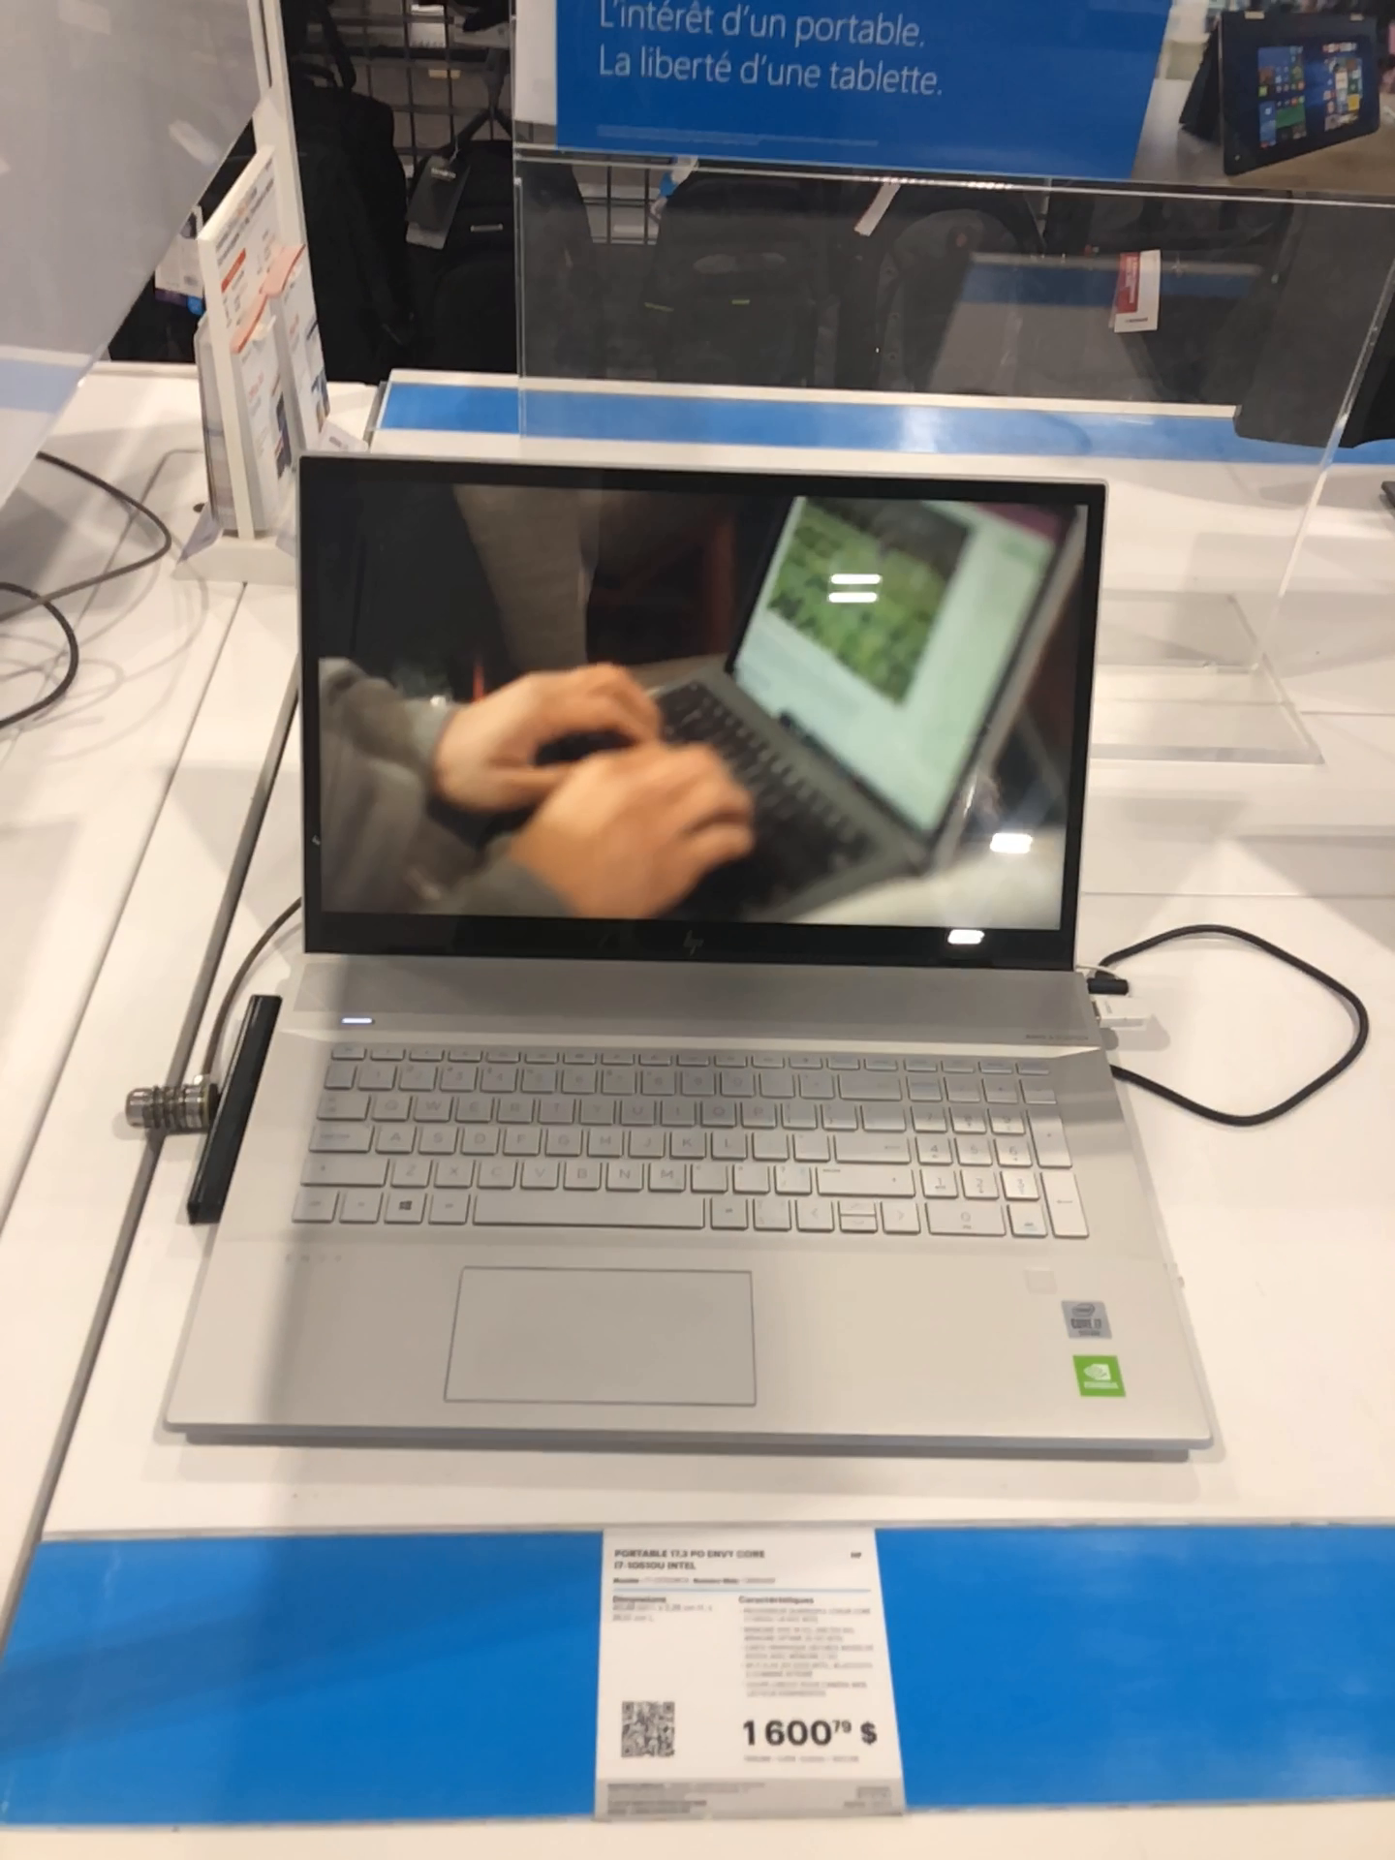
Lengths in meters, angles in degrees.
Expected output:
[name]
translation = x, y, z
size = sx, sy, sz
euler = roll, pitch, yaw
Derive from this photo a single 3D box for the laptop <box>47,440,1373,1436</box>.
[laptop]
translation = 0.000, -0.021, 0.661
size = 0.390, 0.199, 0.399
euler = 2, 41, -3
